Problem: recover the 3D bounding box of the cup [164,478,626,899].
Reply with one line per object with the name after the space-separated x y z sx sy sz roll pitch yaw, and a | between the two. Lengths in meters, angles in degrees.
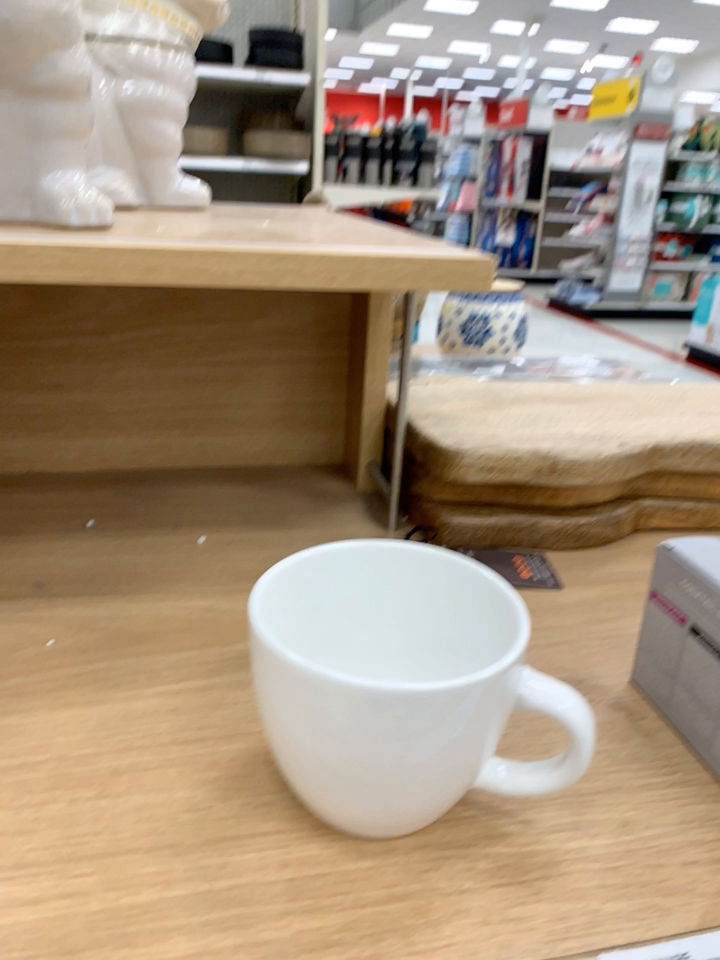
0.017 0.066 0.284 0.140 0.080 0.110 8 23 12 | cup
